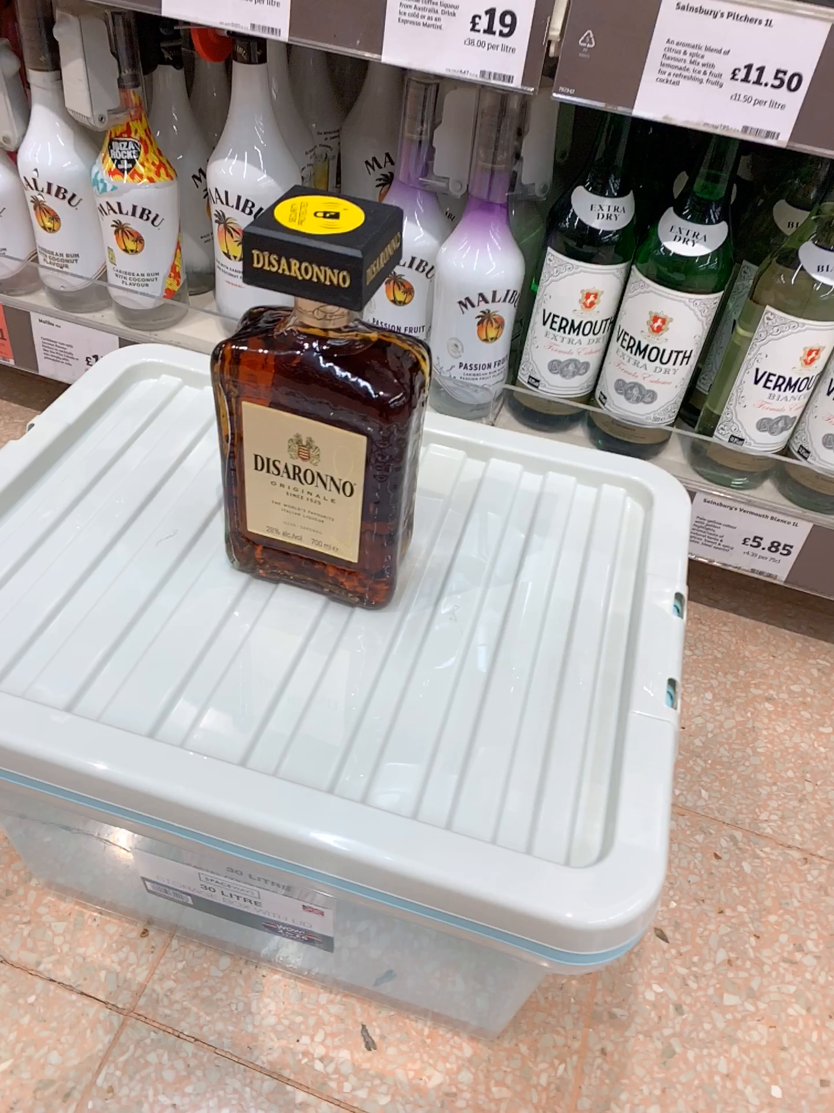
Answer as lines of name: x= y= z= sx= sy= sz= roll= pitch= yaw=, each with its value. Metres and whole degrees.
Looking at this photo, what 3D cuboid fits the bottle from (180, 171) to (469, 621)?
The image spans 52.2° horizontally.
bottle: x=-0.049 y=-0.075 z=0.453 sx=0.111 sy=0.208 sz=0.071 roll=16 pitch=44 yaw=9
